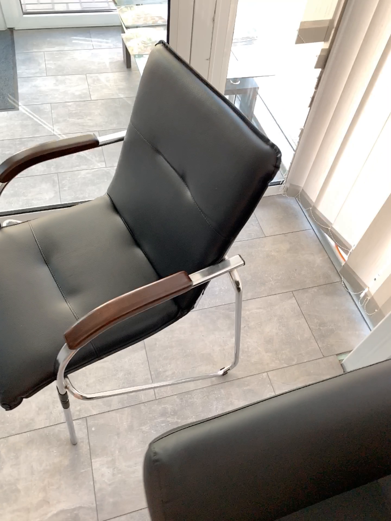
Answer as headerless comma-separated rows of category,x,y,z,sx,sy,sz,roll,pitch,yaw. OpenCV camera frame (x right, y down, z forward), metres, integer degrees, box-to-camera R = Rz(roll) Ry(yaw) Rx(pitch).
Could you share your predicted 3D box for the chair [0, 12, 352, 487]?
chair,-0.242,-0.004,1.041,0.701,0.827,0.682,-24,59,-21
